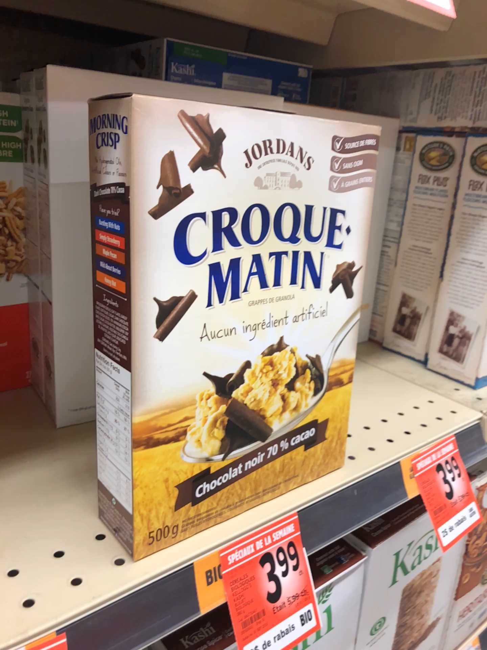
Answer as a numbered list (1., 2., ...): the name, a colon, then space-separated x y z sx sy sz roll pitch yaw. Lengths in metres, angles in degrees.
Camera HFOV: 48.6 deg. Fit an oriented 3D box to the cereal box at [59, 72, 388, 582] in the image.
1. cereal box: -0.004 -0.004 0.331 0.190 0.249 0.050 -10 20 -39
